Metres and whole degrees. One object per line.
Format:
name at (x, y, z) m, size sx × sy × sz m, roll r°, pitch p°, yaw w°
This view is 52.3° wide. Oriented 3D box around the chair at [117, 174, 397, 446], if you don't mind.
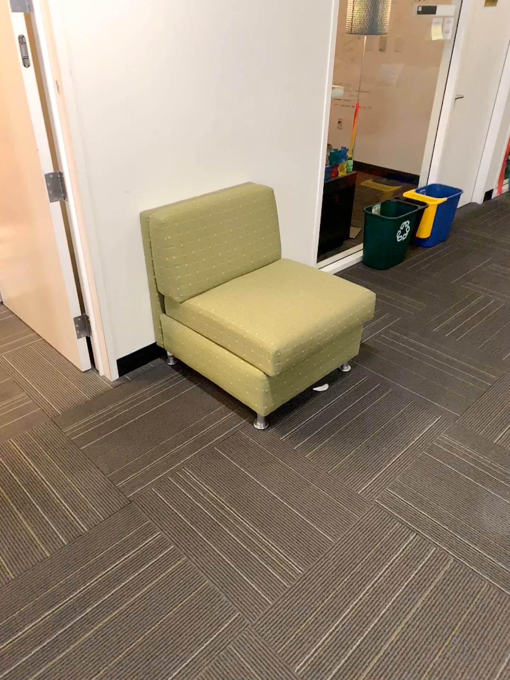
chair at (-0.001, -0.192, 2.166) m, size 0.731 × 0.686 × 0.783 m, roll -28°, pitch 43°, yaw -37°
